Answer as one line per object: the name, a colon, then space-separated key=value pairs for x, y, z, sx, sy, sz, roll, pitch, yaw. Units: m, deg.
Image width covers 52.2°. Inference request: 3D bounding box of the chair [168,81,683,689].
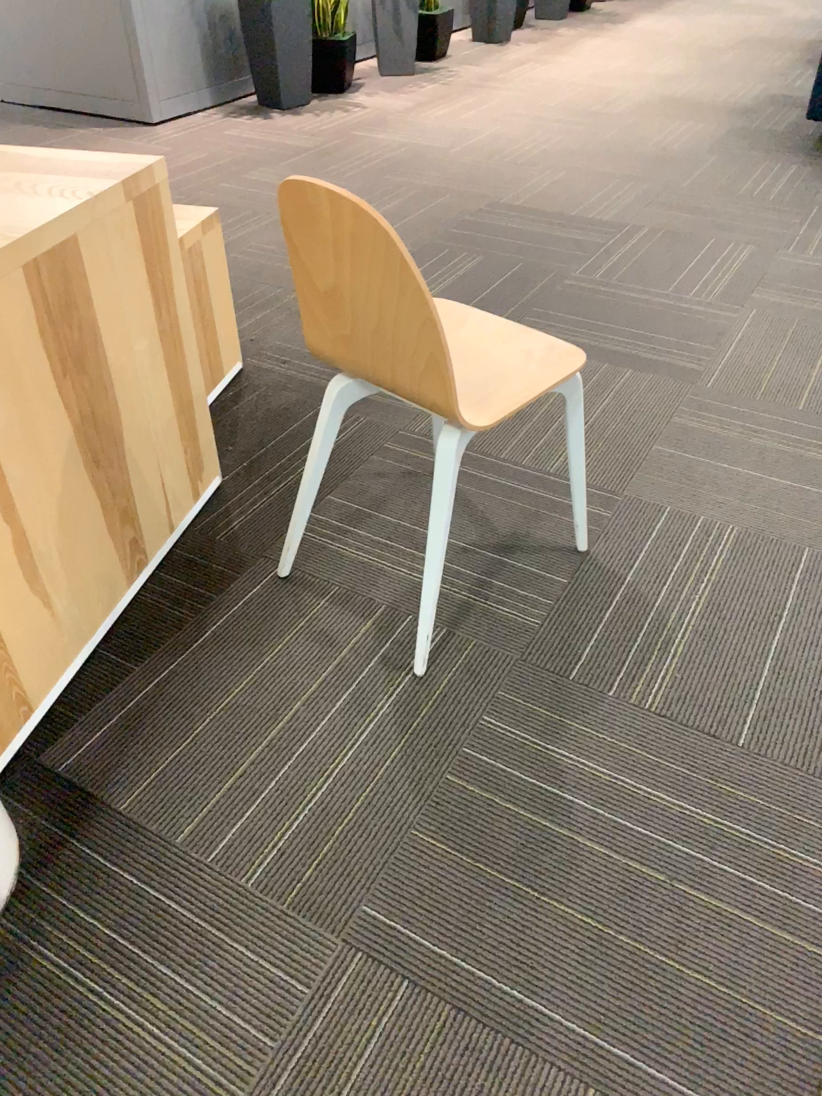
chair: x=0.030 y=-0.315 z=1.534 sx=0.552 sy=0.815 sz=0.561 roll=29 pitch=48 yaw=31
